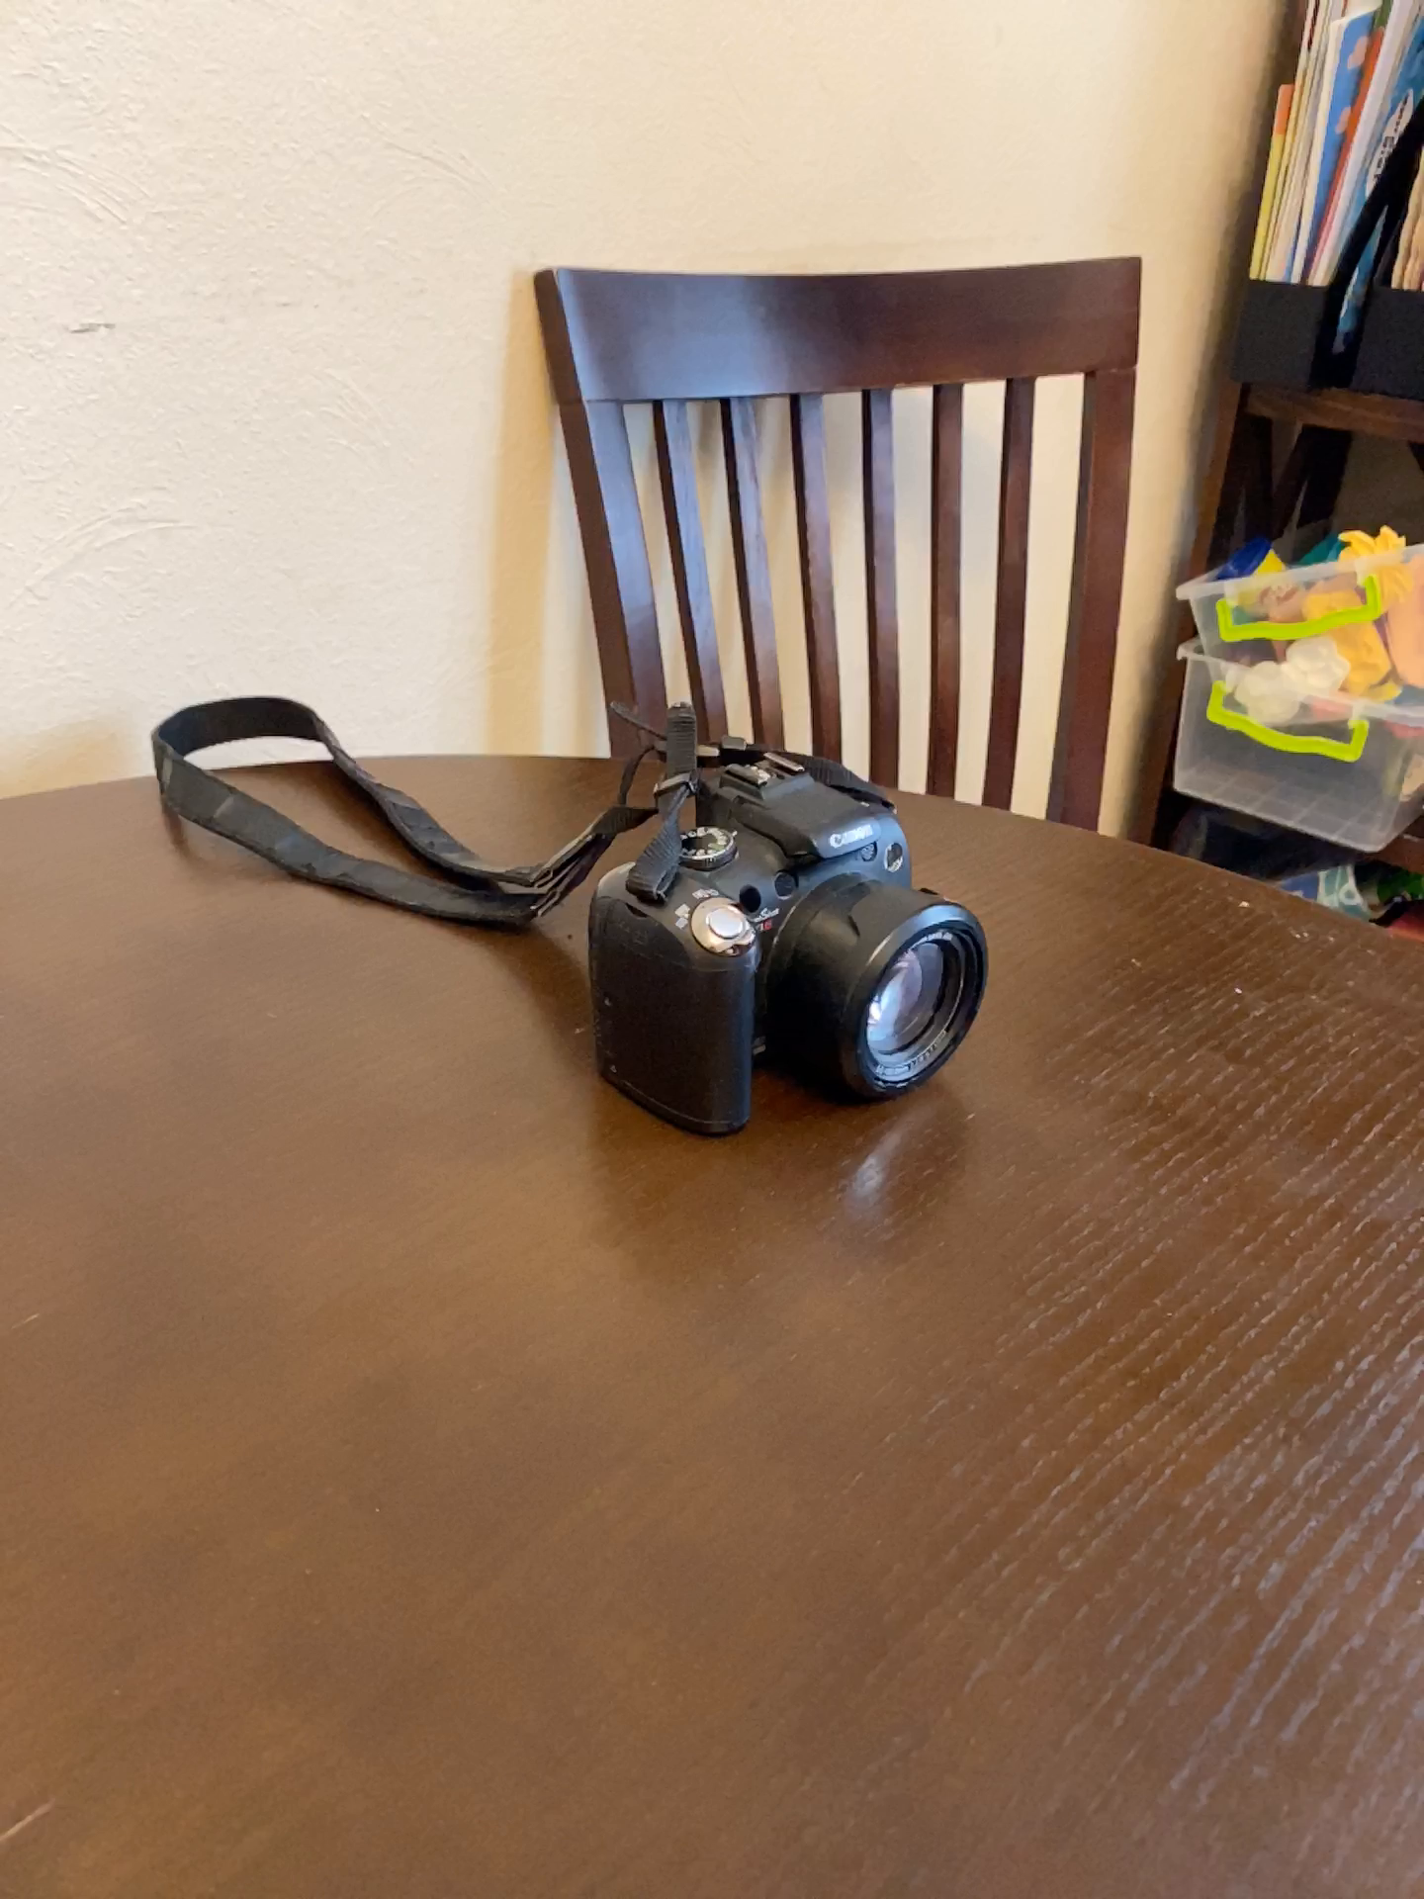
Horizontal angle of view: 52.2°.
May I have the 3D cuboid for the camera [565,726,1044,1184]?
[{"bbox_3d":[0.028,-0.005,0.462,0.123,0.088,0.082,-21,36,-36],"label":"camera"}]
